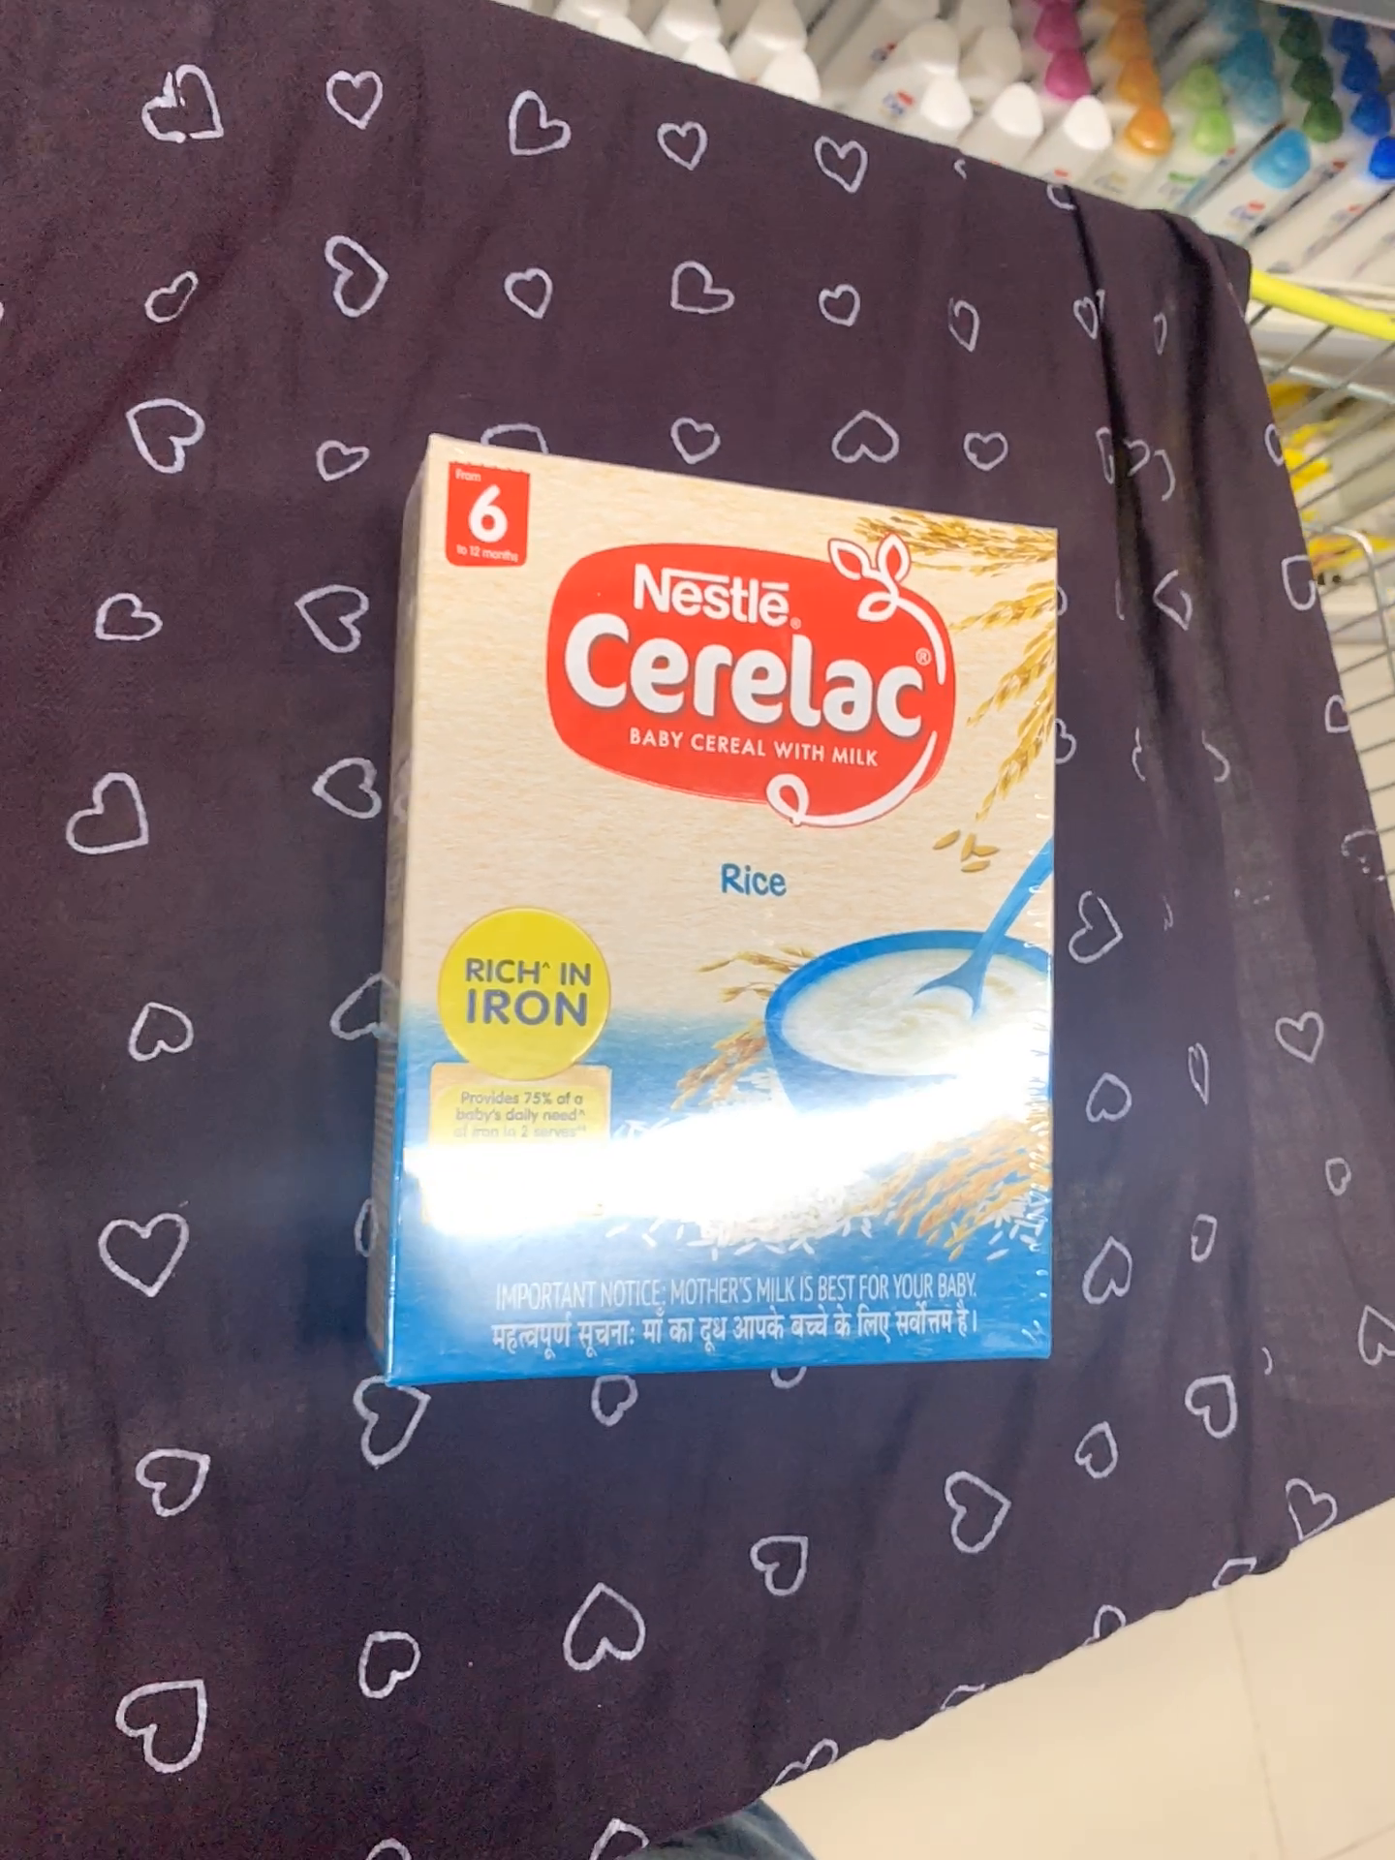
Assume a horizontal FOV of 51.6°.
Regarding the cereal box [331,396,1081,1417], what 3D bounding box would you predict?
[{"bbox_3d":[0.005,-0.003,0.325,0.160,0.040,0.200,3,84,-19],"label":"cereal box"}]
